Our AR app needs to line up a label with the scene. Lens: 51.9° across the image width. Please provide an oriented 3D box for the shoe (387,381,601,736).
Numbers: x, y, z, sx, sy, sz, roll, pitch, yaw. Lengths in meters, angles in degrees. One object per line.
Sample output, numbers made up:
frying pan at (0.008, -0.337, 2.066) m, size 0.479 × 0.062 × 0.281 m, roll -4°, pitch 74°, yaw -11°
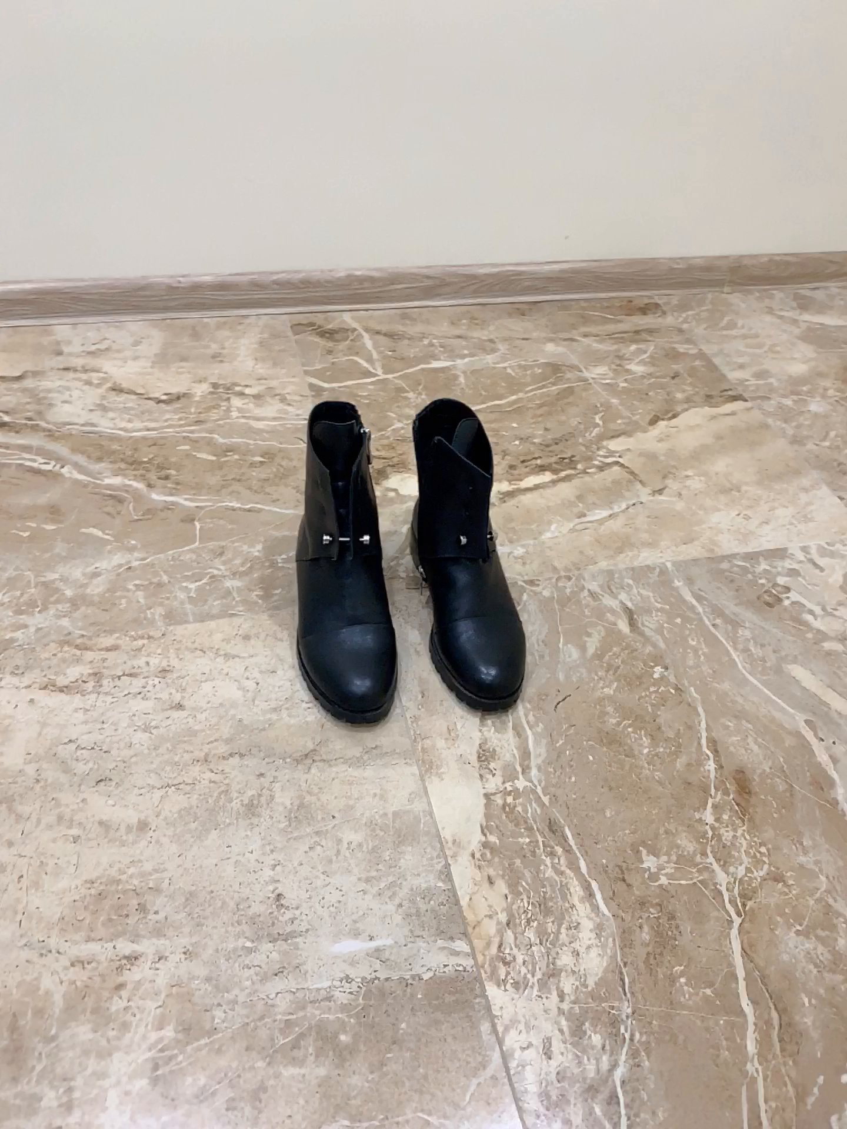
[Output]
shoe at (0.047, -0.011, 0.797) m, size 0.090 × 0.199 × 0.251 m, roll -8°, pitch 45°, yaw -15°

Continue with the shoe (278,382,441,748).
shoe at (-0.068, -0.004, 0.773) m, size 0.090 × 0.199 × 0.251 m, roll -5°, pitch 47°, yaw -13°
